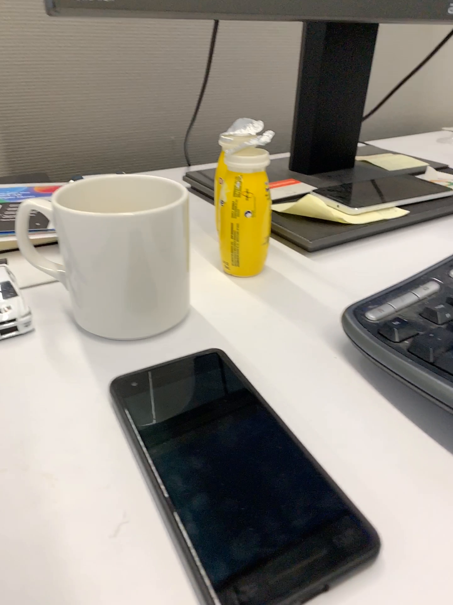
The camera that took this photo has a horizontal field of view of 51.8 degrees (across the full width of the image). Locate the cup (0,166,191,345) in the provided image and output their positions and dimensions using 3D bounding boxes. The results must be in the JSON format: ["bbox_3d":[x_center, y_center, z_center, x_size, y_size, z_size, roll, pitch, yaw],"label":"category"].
[{"bbox_3d":[-0.093,-0.036,0.305,0.120,0.080,0.070,10,30,15],"label":"cup"}]
